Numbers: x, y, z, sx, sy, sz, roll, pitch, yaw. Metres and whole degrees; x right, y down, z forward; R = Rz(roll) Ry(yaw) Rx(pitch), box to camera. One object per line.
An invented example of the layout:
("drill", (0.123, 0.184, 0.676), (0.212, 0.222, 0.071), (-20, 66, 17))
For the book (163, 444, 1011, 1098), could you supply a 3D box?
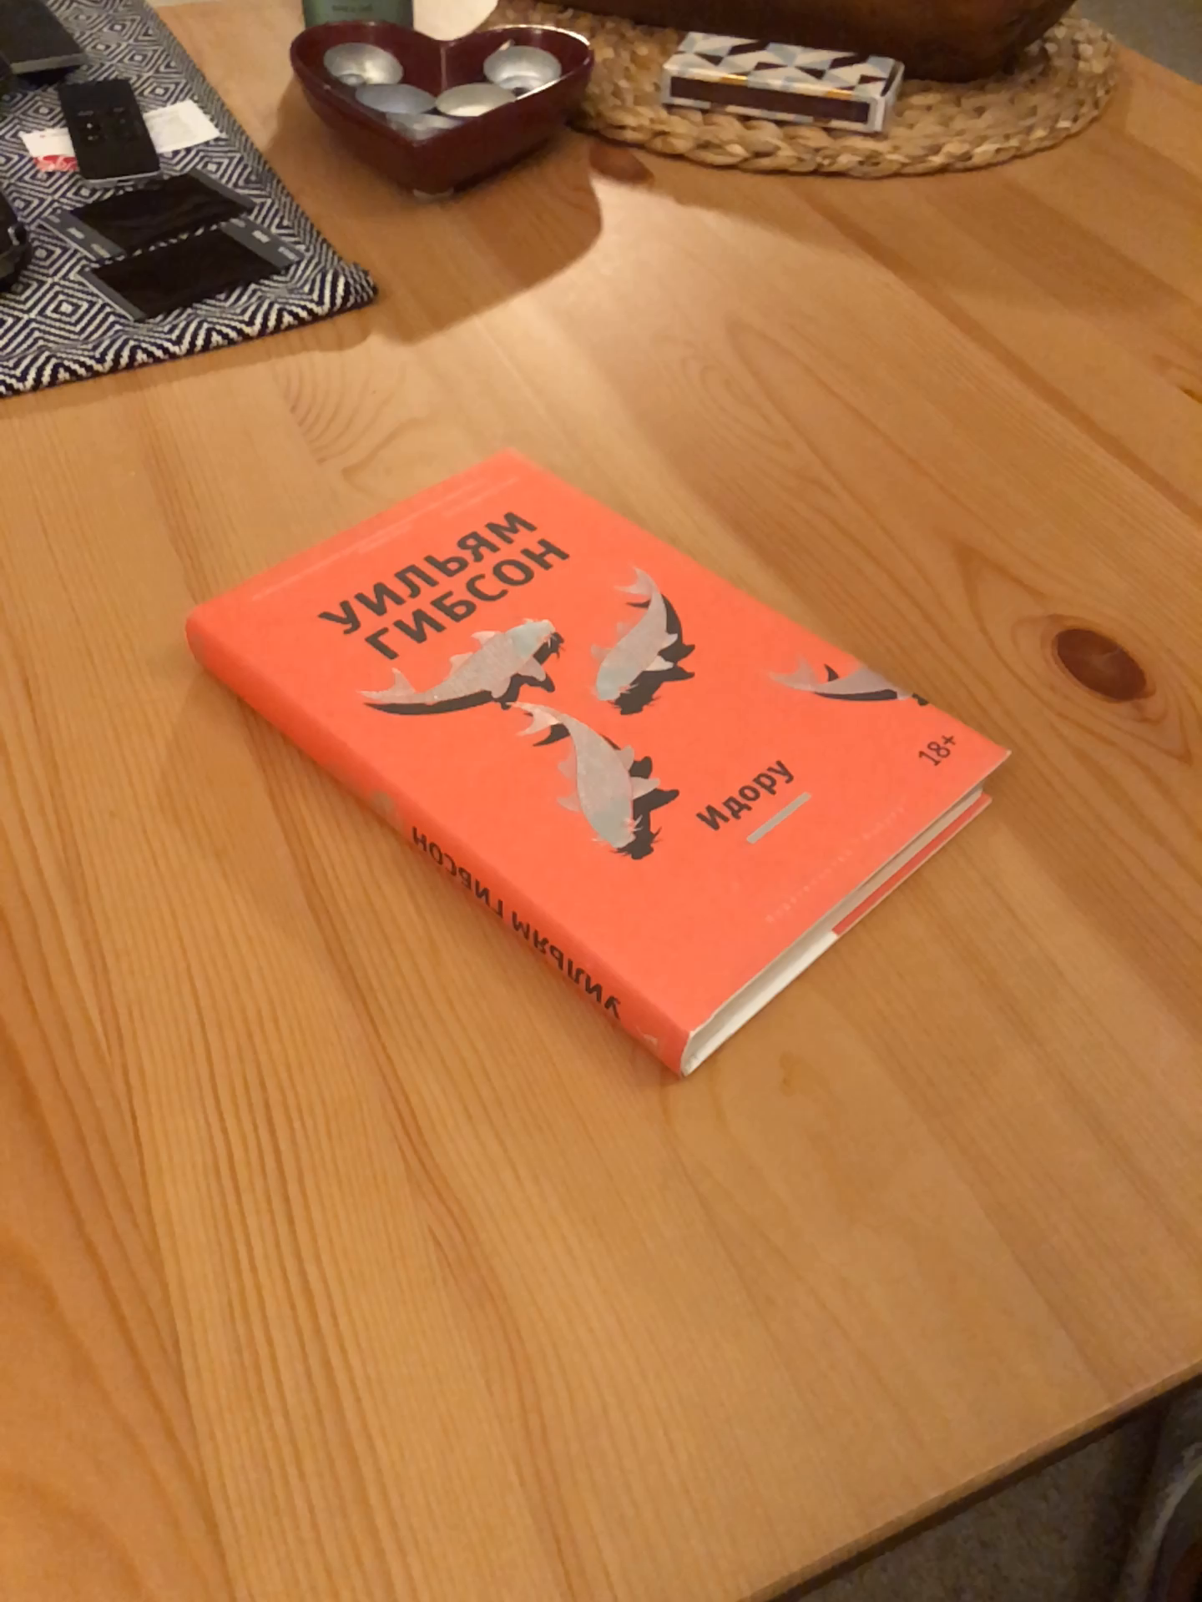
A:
("book", (-0.009, -0.027, 0.385), (0.207, 0.020, 0.134), (37, 56, 27))
